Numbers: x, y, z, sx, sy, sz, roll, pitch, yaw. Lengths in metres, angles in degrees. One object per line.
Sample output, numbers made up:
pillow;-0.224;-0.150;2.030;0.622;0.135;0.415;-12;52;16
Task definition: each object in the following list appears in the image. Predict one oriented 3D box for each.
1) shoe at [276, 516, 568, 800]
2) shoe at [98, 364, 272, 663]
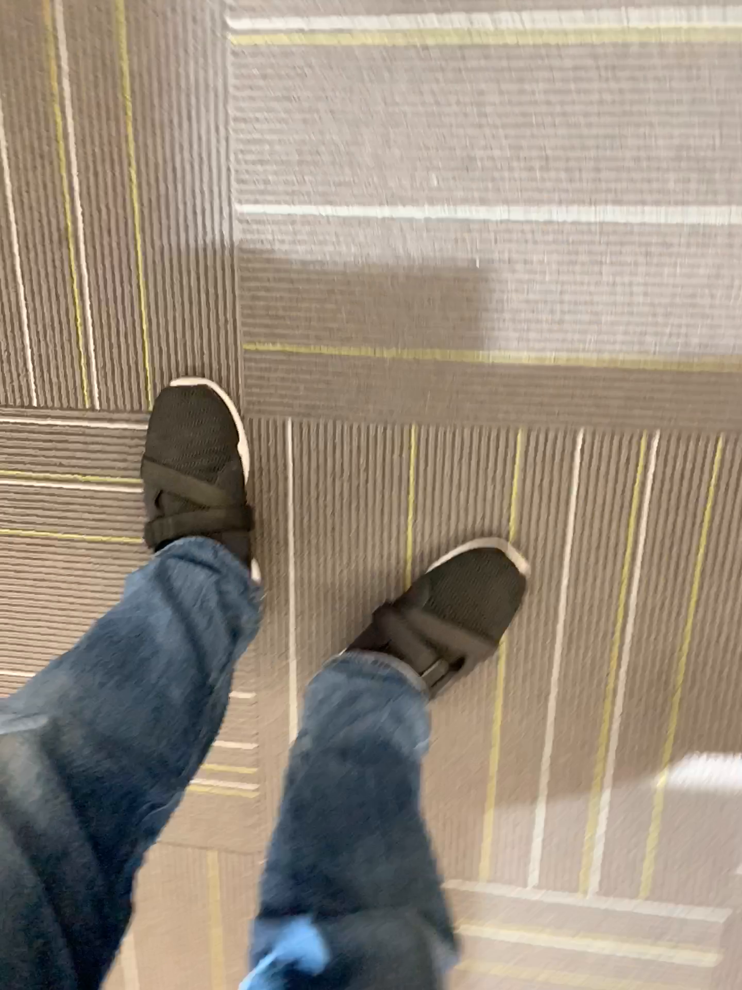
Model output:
shoe;0.052;0.179;0.827;0.120;0.110;0.301;45;109;-7
shoe;-0.191;0.017;0.826;0.120;0.120;0.301;1;108;8
